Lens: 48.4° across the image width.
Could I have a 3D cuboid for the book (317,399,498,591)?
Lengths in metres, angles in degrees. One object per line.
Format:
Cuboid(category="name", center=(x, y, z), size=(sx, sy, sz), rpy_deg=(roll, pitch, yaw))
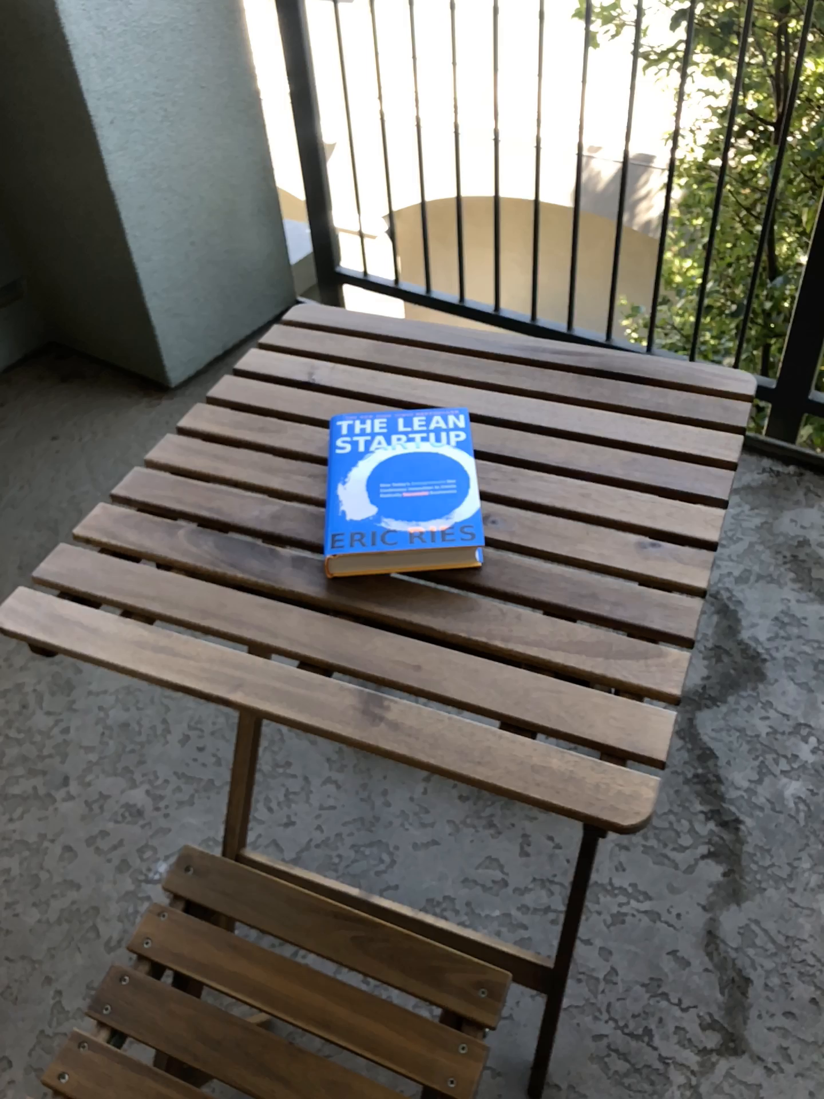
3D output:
Cuboid(category="book", center=(-0.005, -0.061, 0.906), size=(0.160, 0.040, 0.231), rpy_deg=(-3, 44, 2))
